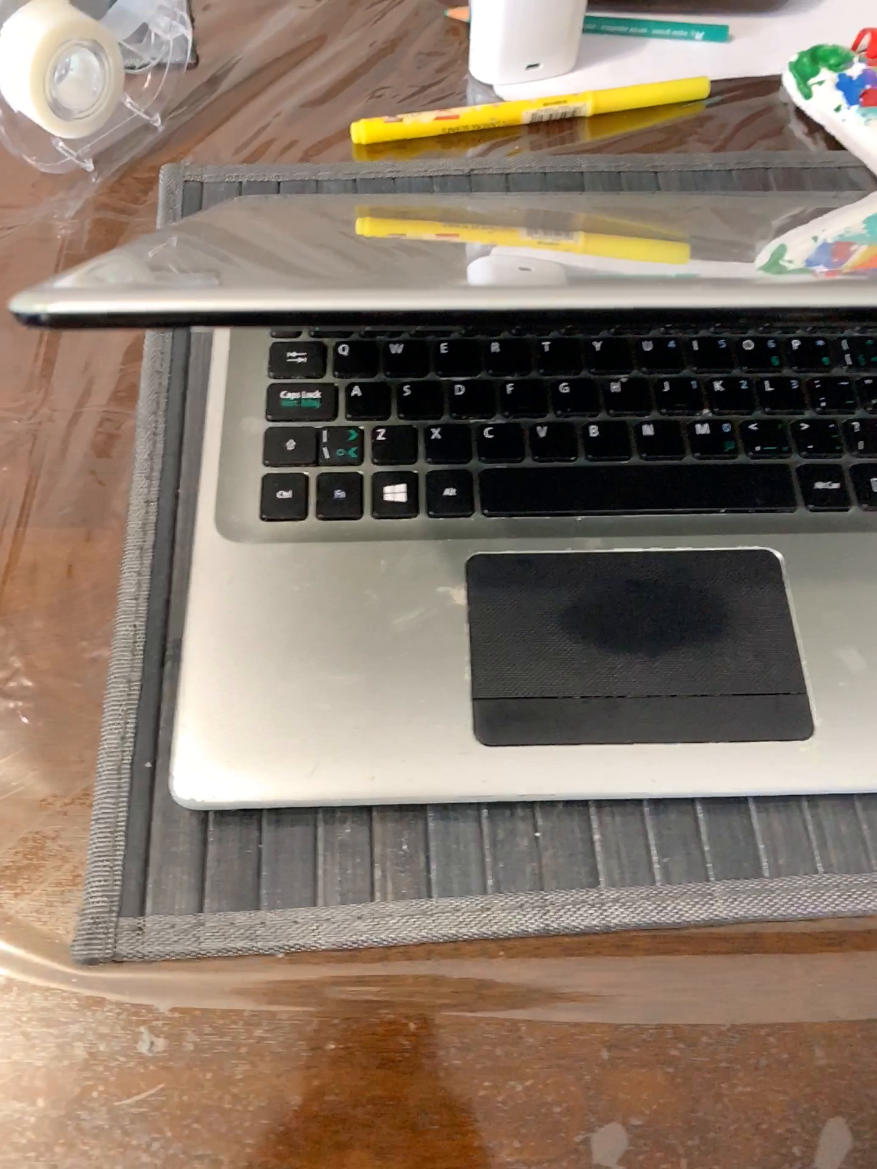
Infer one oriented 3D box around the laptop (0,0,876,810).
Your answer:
[{"bbox_3d":[0.089,-0.073,0.259,0.344,0.145,0.236,-1,64,-2],"label":"laptop"}]
